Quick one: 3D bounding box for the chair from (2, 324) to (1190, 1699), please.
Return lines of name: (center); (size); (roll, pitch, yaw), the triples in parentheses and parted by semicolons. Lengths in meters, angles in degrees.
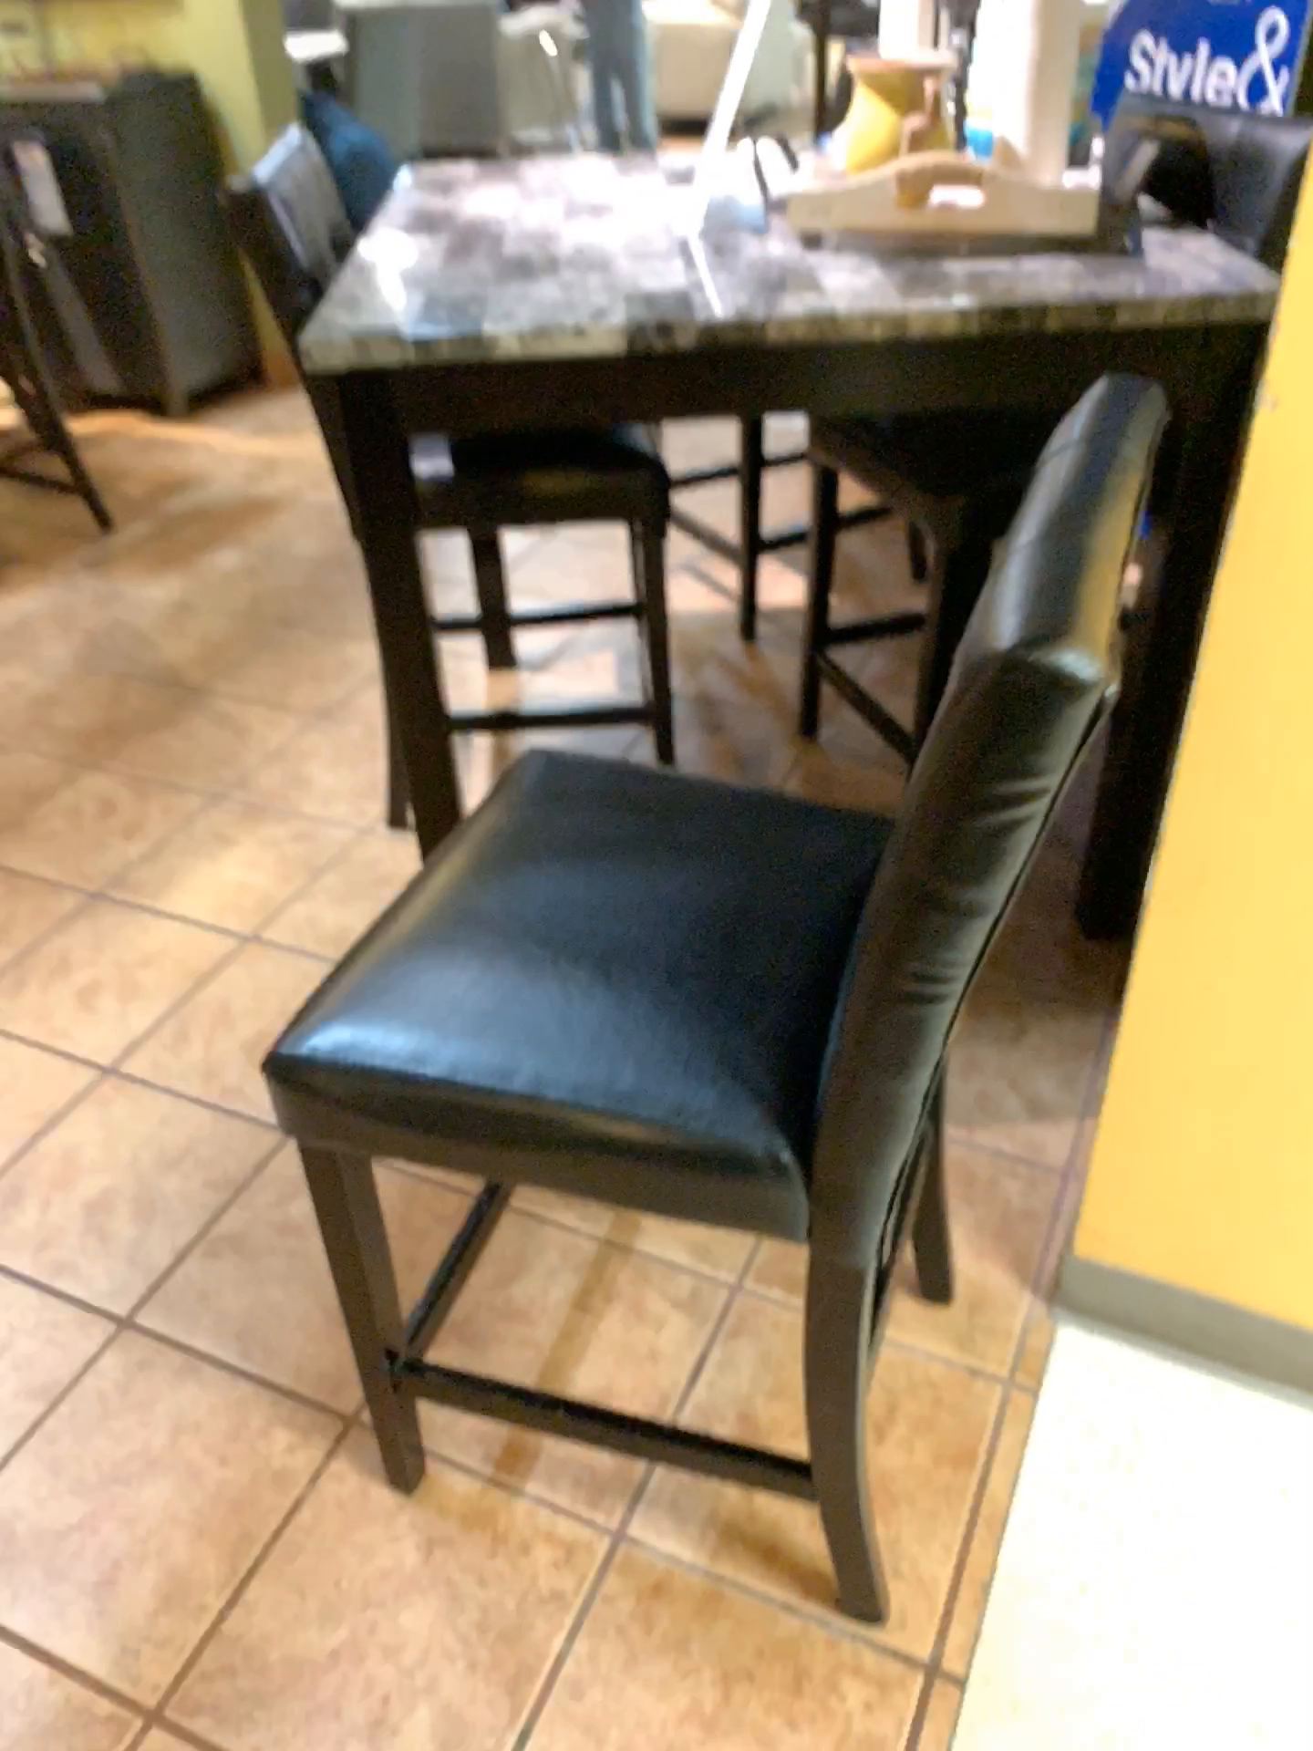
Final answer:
chair: (0.021, 0.116, 1.151); (0.619, 0.962, 0.500); (11, 38, 18)
